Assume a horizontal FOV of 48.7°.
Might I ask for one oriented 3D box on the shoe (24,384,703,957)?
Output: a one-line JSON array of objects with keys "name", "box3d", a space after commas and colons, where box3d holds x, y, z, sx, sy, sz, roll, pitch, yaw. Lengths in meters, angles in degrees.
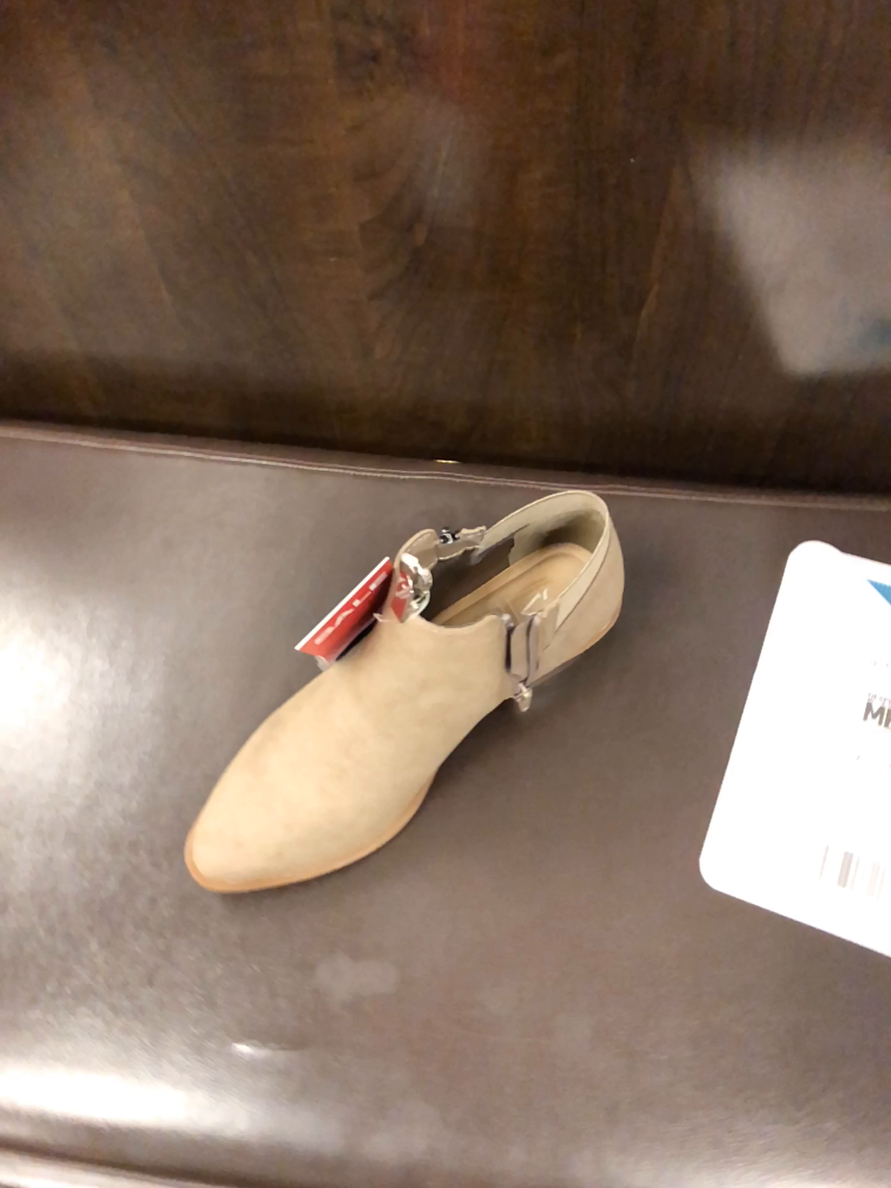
[{"name": "shoe", "box3d": [-0.027, 0.038, 0.452, 0.260, 0.133, 0.097, -32, 66, -14]}]
